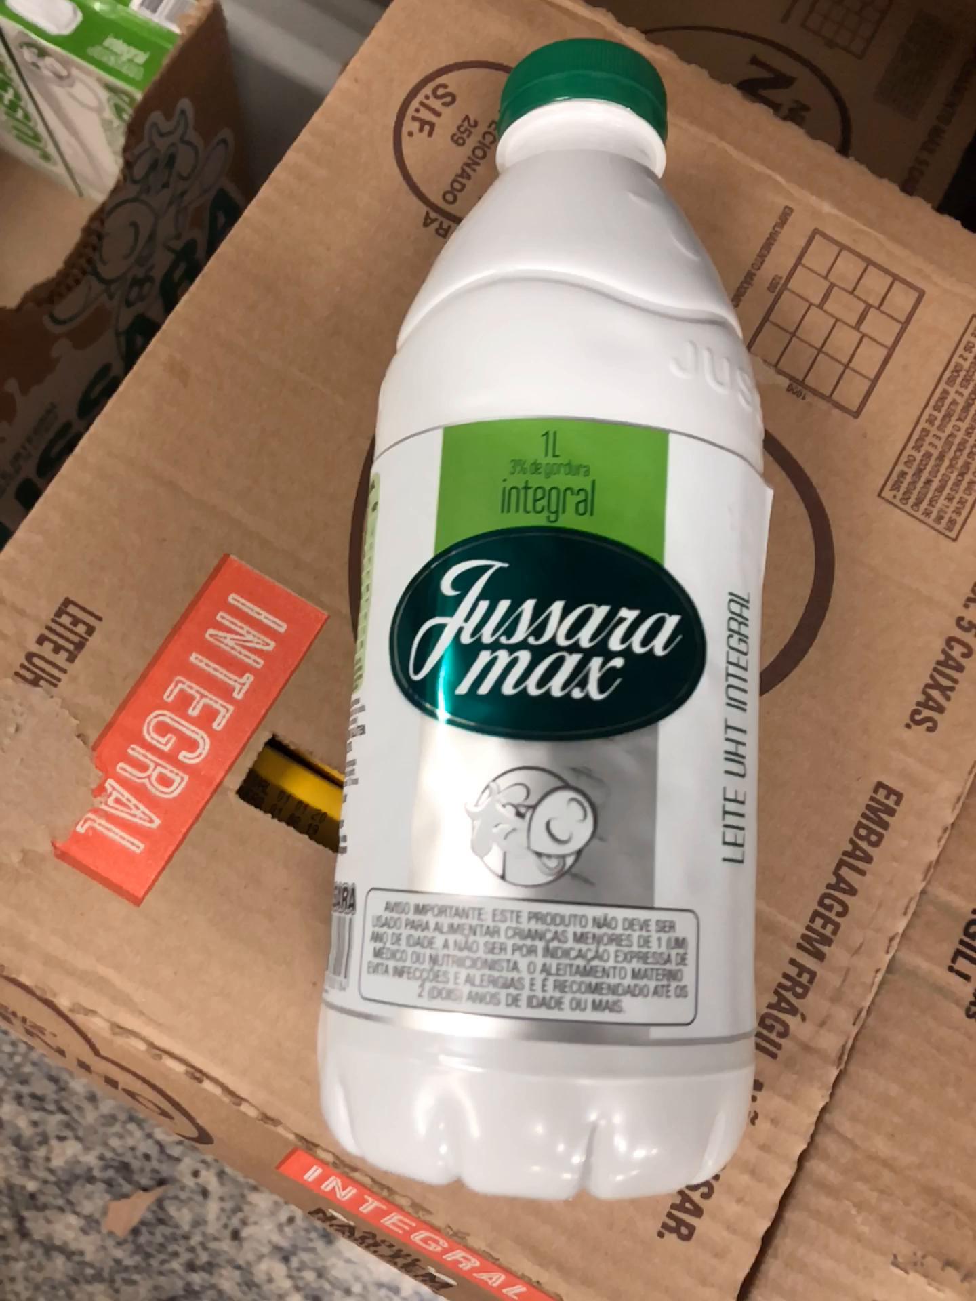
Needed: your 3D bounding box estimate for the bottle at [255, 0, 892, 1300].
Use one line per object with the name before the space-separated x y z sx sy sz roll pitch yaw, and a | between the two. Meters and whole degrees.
bottle | 0.017 -0.016 0.211 0.090 0.060 0.240 5 84 -3
